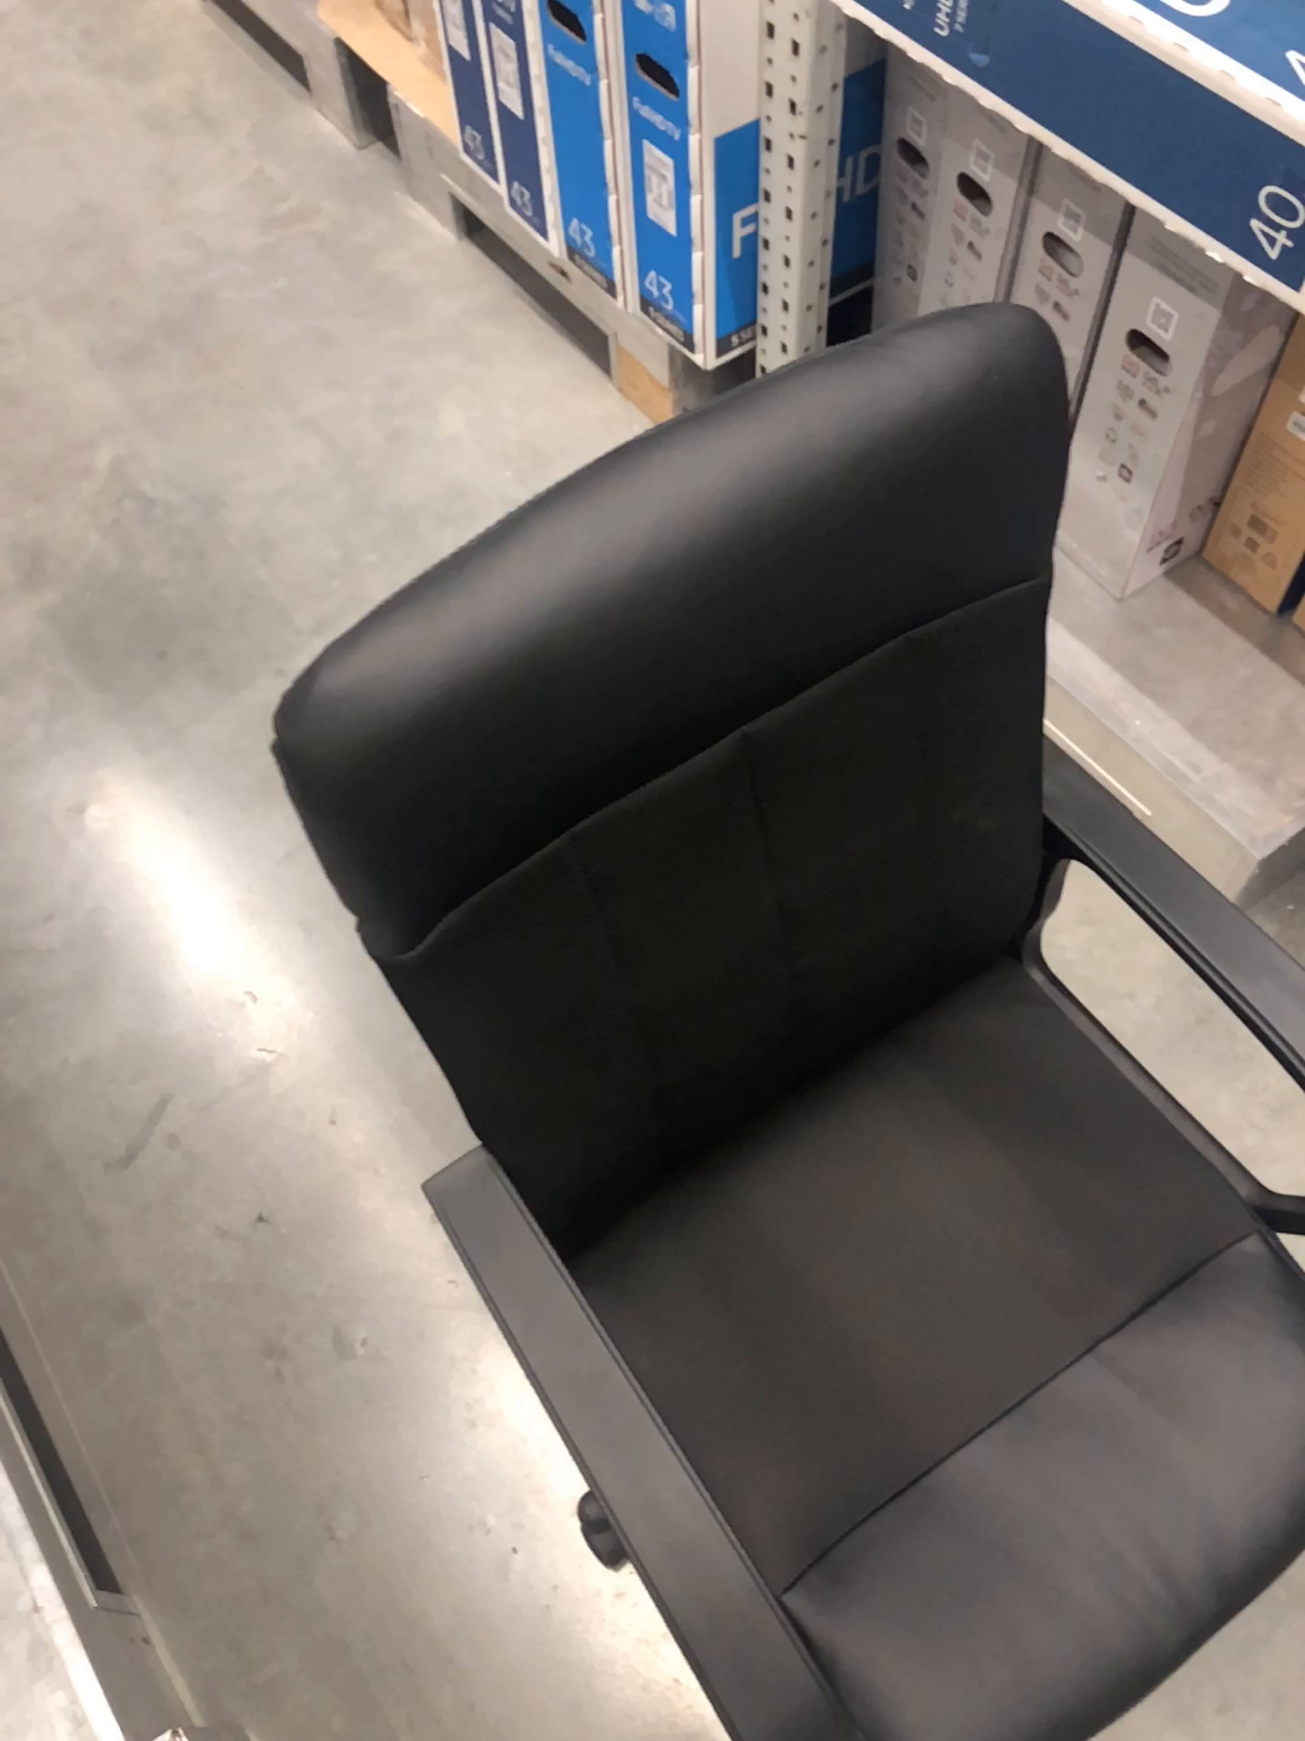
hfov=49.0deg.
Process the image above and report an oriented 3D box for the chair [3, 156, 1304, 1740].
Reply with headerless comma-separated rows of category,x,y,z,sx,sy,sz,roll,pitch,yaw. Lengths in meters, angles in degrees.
chair,0.196,0.278,1.048,0.651,1.125,0.632,-33,64,-15
